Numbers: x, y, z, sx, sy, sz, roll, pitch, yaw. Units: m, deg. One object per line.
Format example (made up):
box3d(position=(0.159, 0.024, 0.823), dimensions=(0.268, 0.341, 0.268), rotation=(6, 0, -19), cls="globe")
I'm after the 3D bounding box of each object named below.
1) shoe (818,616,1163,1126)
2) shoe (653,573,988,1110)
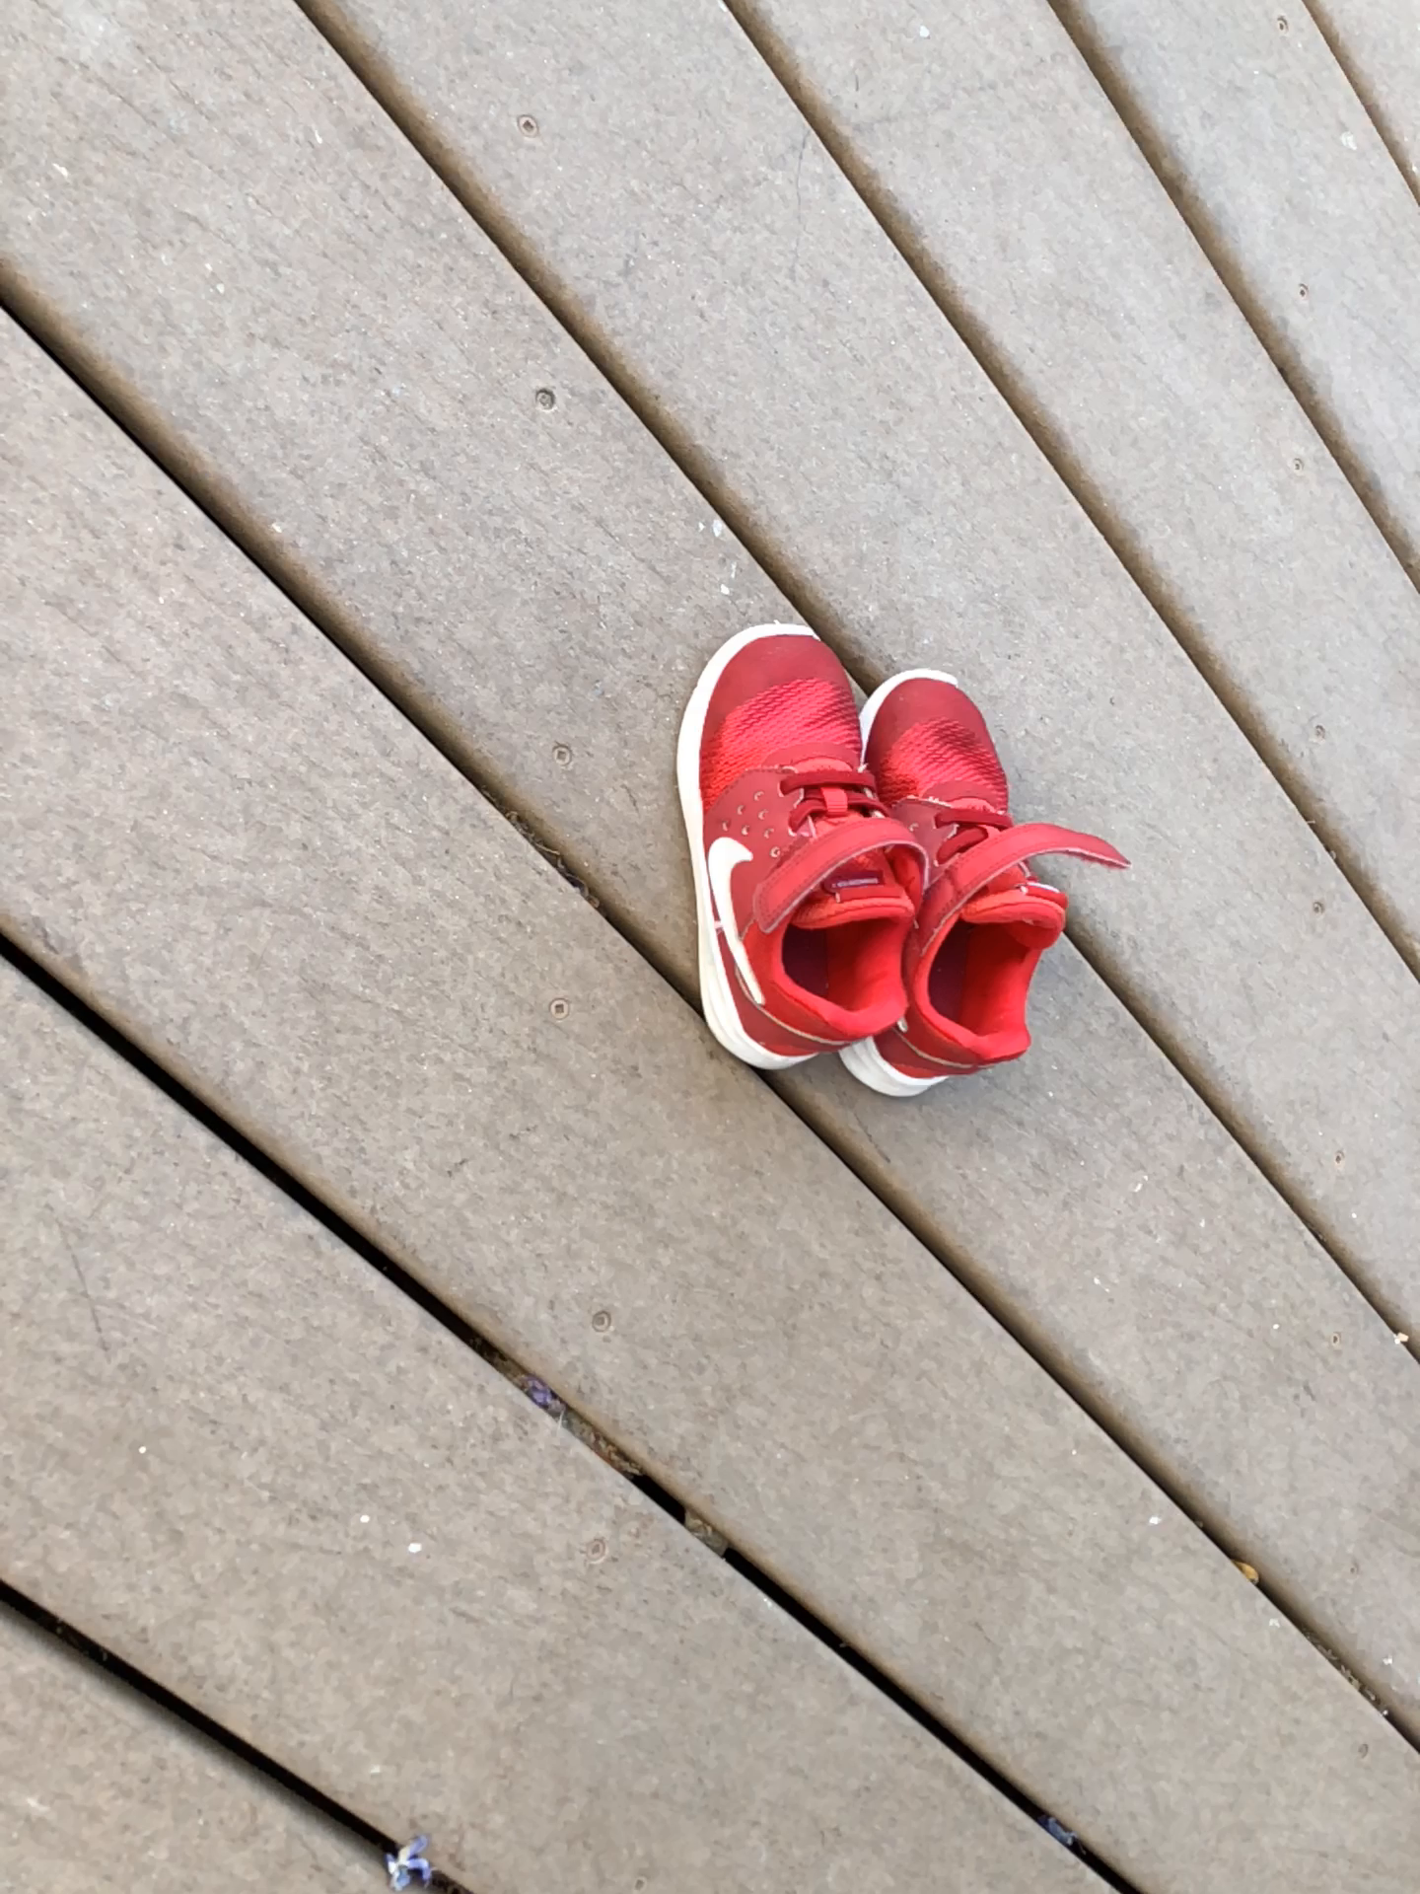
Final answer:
box3d(position=(0.101, -0.023, 0.571), dimensions=(0.078, 0.087, 0.167), rotation=(6, 86, -30), cls="shoe")
box3d(position=(0.037, -0.033, 0.542), dimensions=(0.078, 0.087, 0.167), rotation=(-1, 90, -30), cls="shoe")
